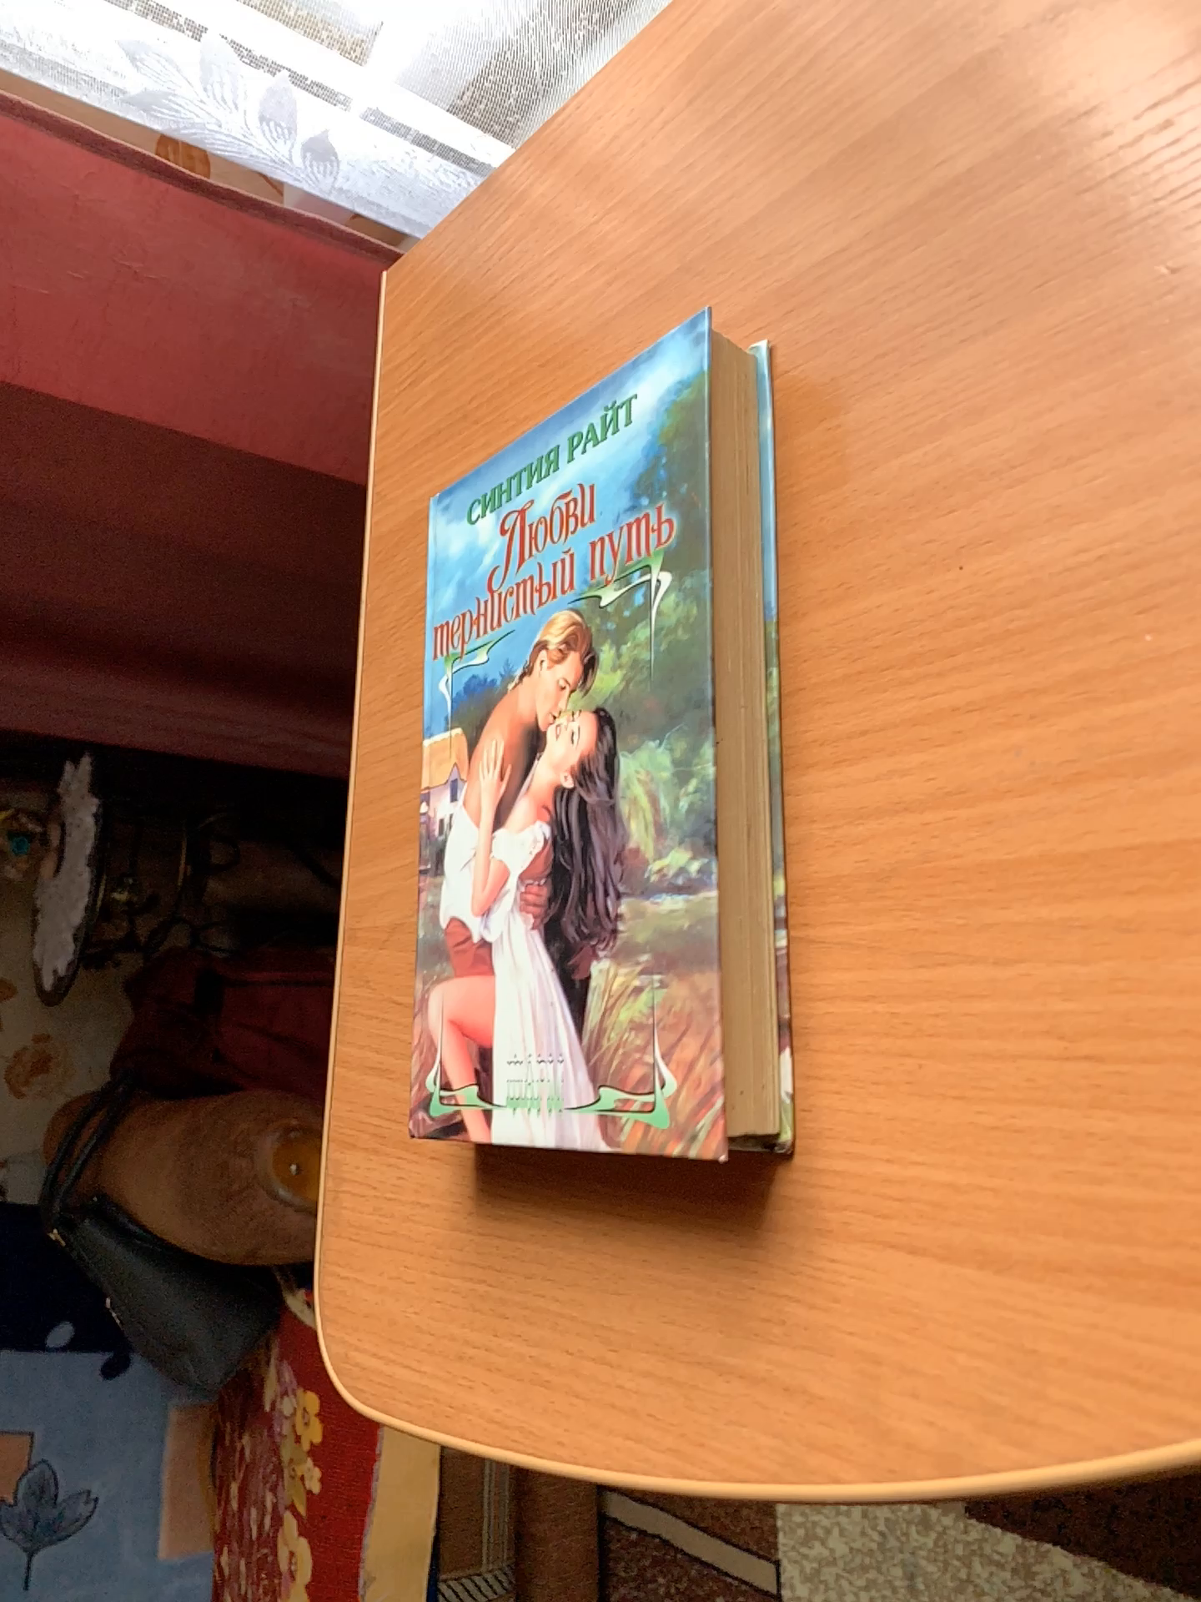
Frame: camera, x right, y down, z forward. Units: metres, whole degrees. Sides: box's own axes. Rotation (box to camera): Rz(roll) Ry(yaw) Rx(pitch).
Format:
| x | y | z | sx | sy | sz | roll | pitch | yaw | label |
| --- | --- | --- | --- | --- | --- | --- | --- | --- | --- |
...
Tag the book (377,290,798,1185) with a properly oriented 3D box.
| x | y | z | sx | sy | sz | roll | pitch | yaw | label |
| --- | --- | --- | --- | --- | --- | --- | --- | --- | --- |
| -0.011 | -0.010 | 0.344 | 0.141 | 0.030 | 0.210 | -14 | 72 | 50 | book |
